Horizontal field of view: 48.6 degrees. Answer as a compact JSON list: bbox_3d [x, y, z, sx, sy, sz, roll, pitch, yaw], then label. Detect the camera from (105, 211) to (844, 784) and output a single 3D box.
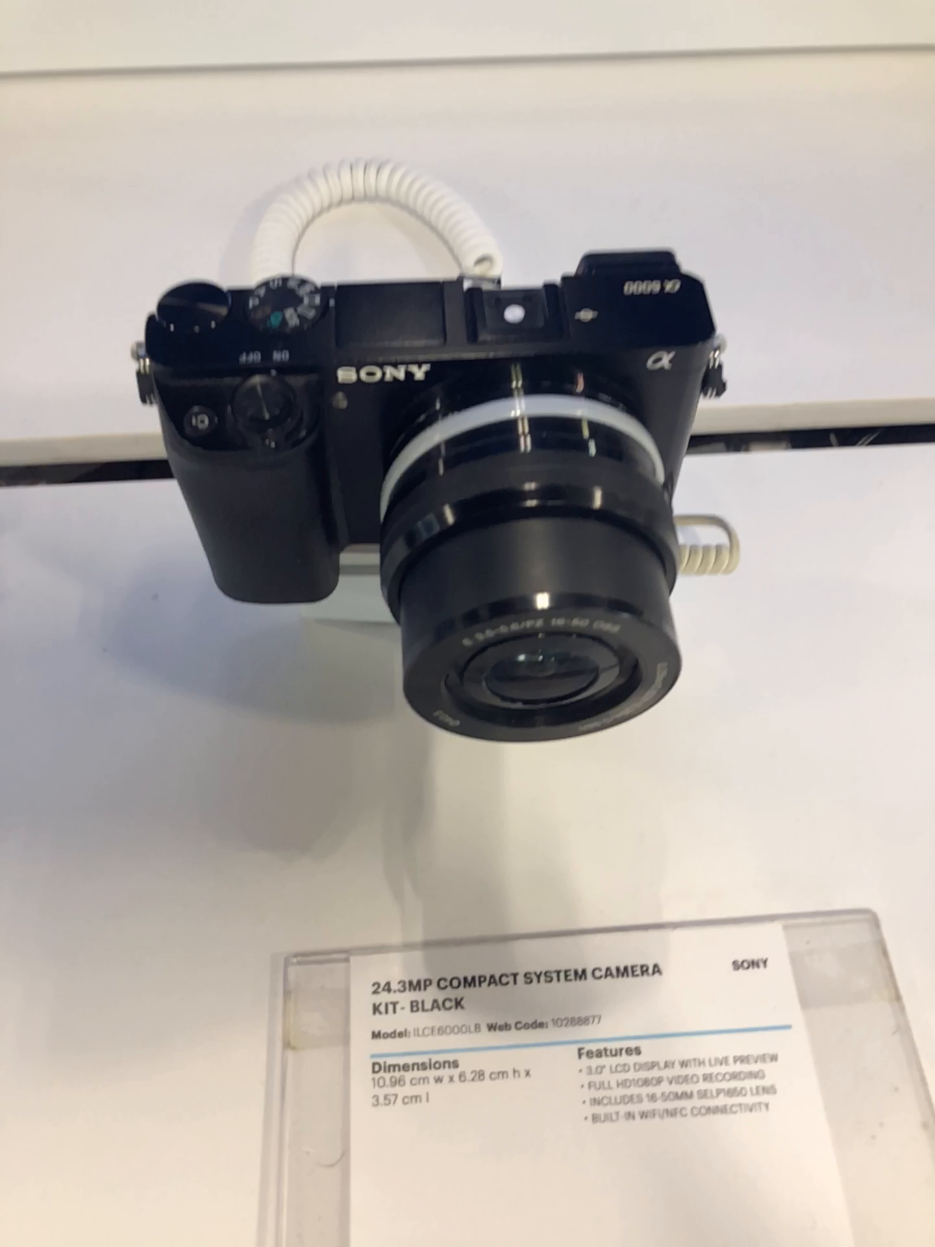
[{"bbox_3d":[-0.002,-0.029,0.238,0.130,0.070,0.100,-4,58,-3],"label":"camera"}]
